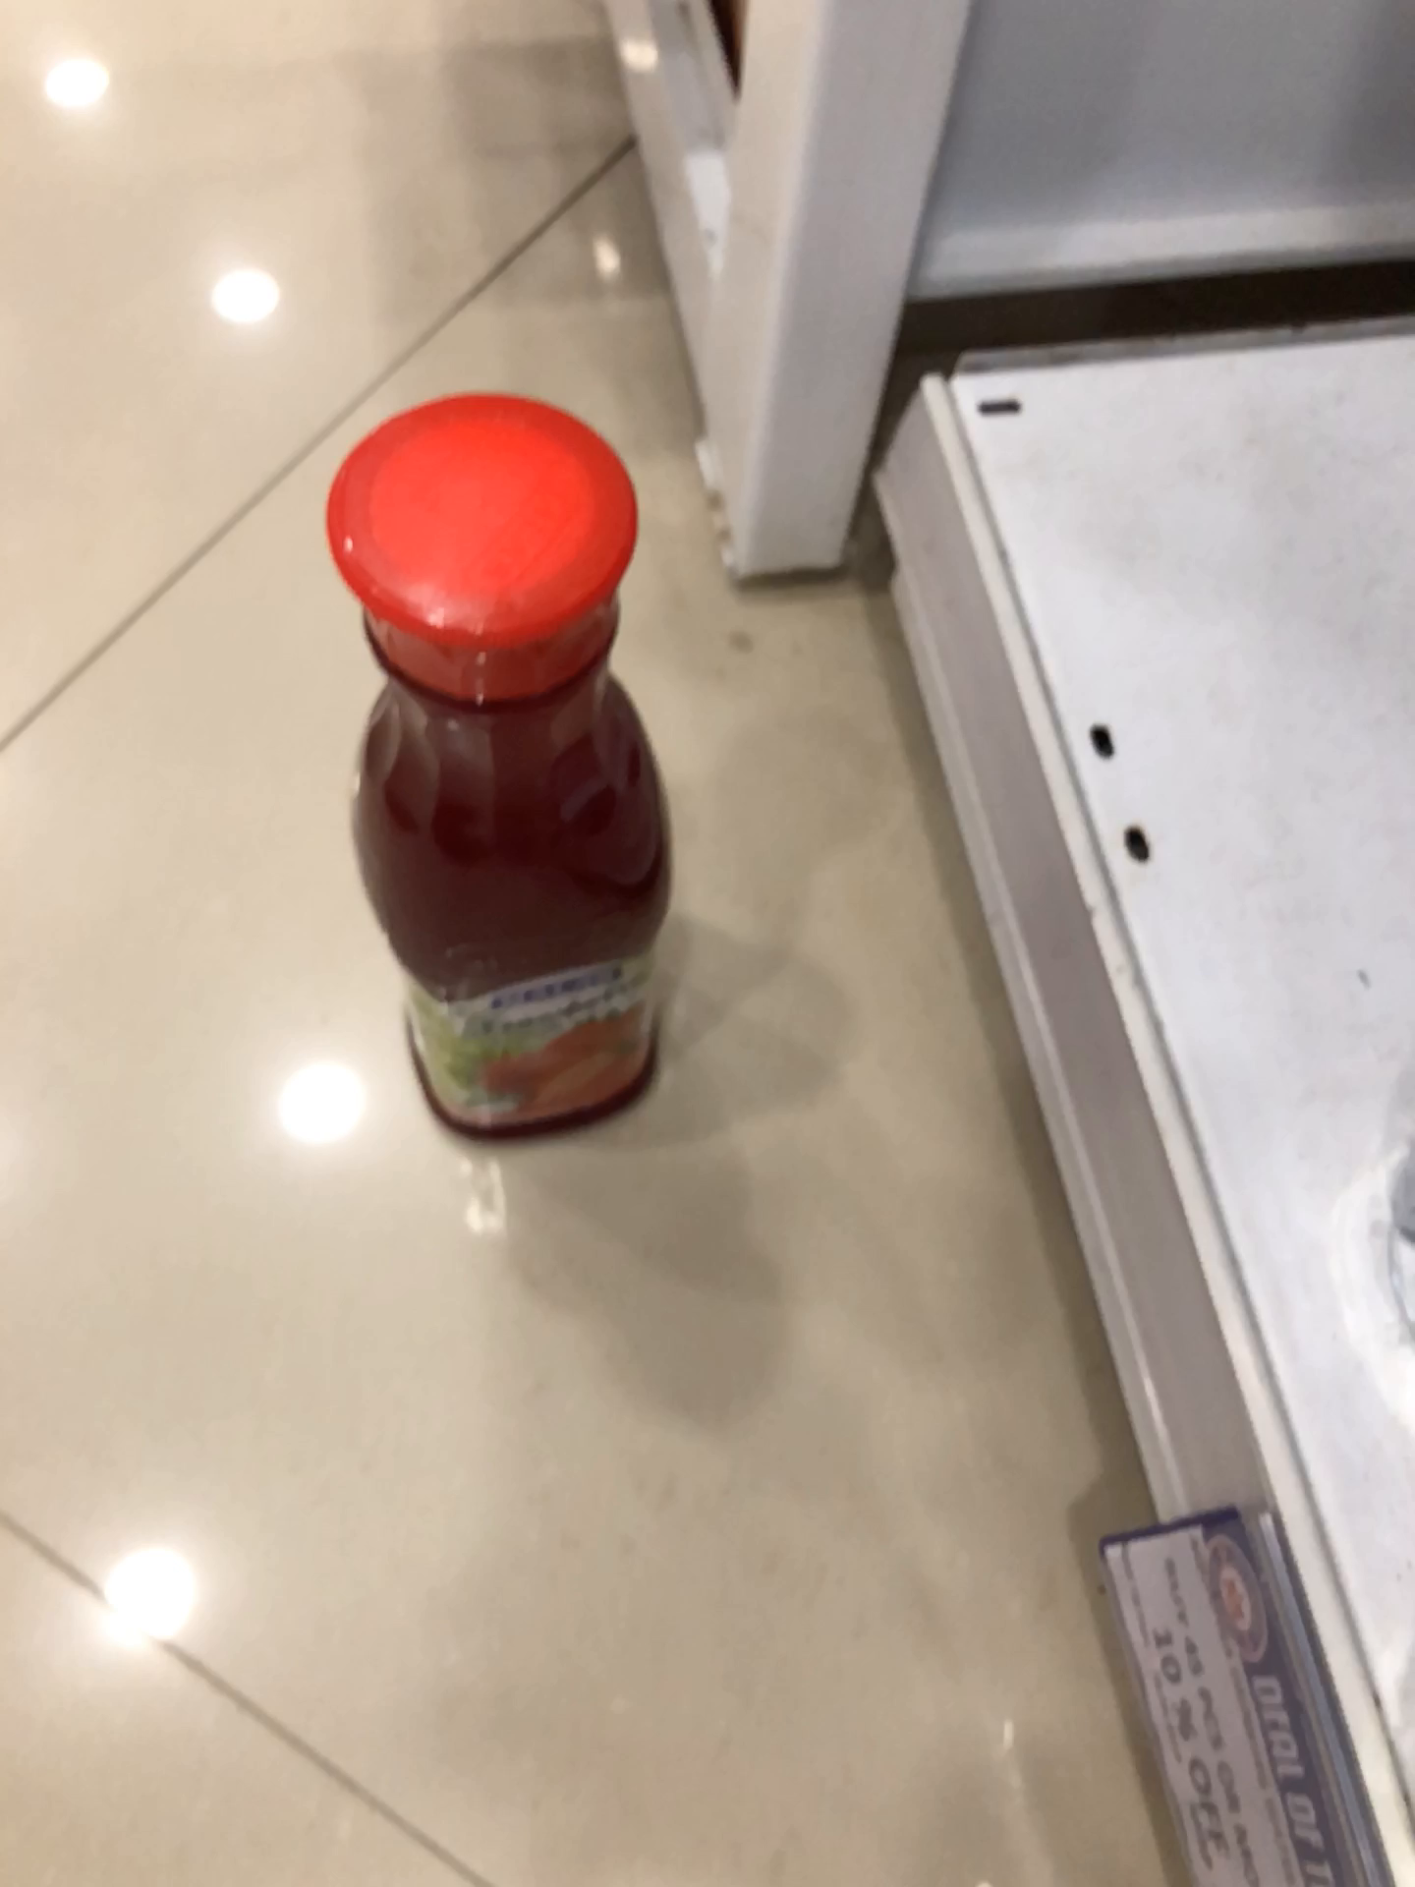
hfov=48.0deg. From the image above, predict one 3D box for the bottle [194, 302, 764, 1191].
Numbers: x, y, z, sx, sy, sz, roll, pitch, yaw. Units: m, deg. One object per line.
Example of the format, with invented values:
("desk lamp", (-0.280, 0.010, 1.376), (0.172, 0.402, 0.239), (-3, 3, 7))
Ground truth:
("bottle", (-0.049, -0.021, 0.375), (0.080, 0.249, 0.070), (-13, 66, -11))
